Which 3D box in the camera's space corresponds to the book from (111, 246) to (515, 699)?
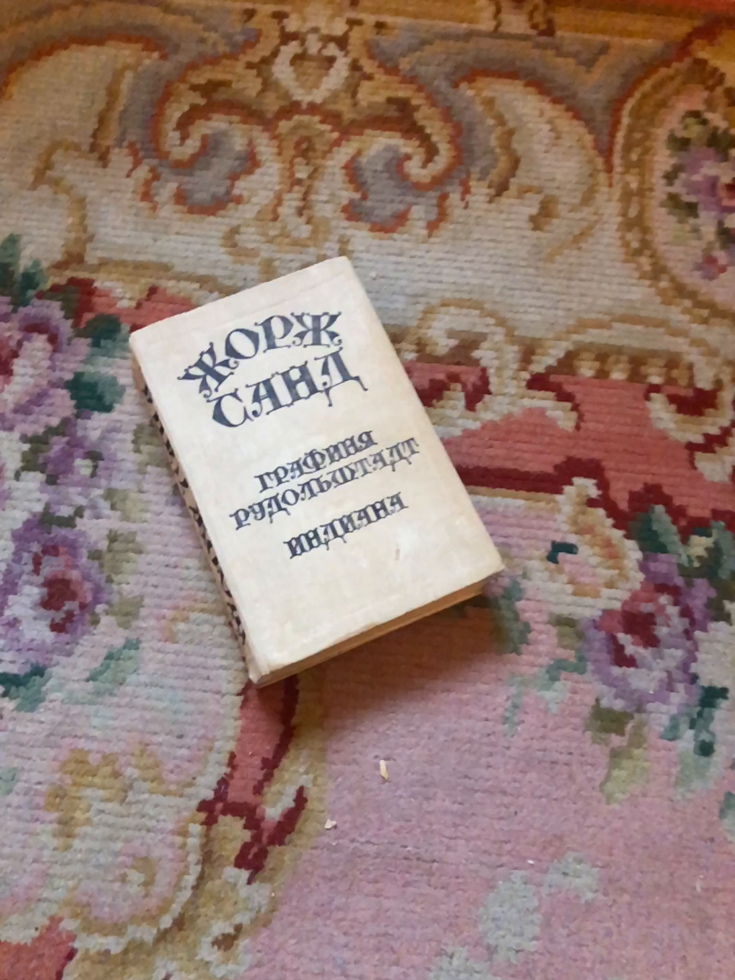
[{"bbox_3d":[-0.036,-0.015,0.473,0.150,0.057,0.220,-22,73,-9],"label":"book"}]
